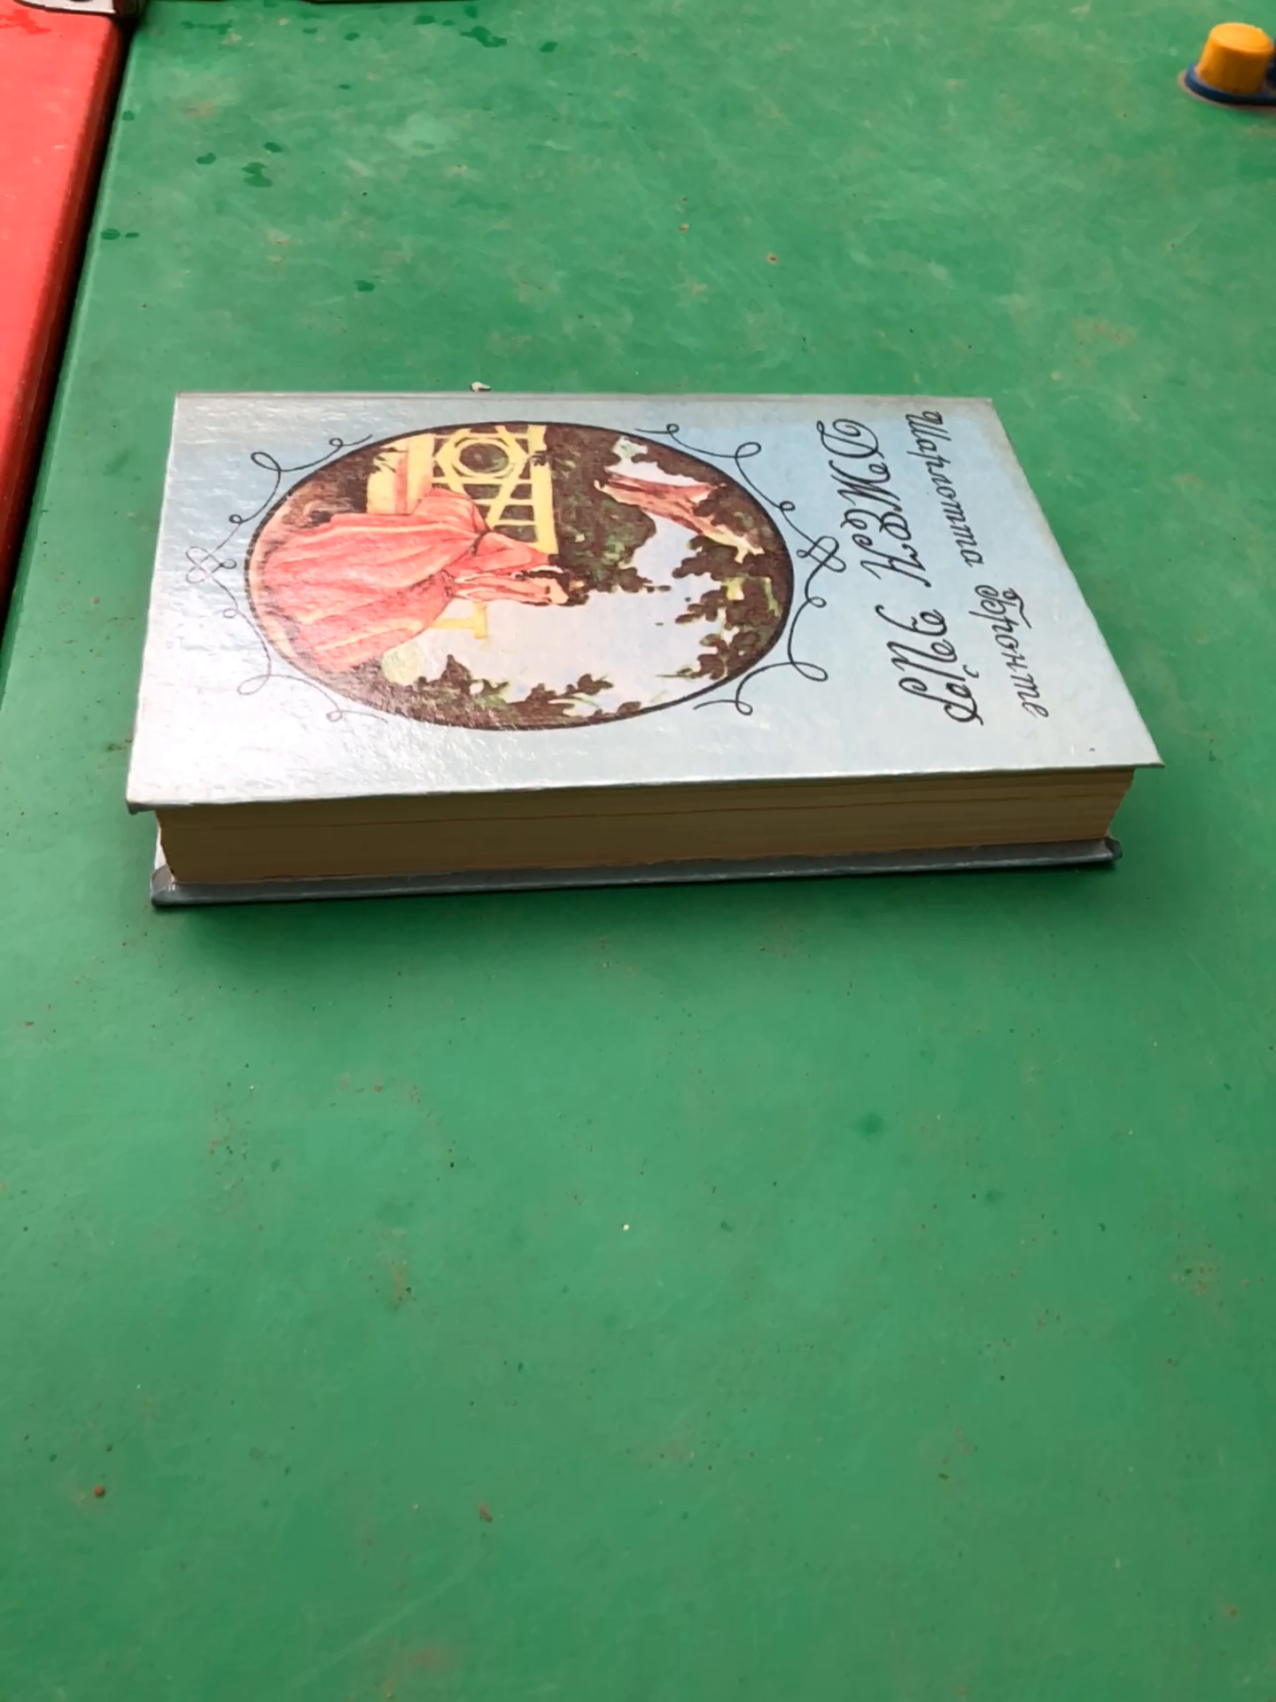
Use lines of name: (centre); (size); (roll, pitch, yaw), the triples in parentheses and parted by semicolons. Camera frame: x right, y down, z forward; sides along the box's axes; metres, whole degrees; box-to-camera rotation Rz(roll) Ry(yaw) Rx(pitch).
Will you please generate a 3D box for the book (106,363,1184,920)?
book: (-0.003, -0.054, 0.307); (0.196, 0.030, 0.135); (-3, 52, -8)
